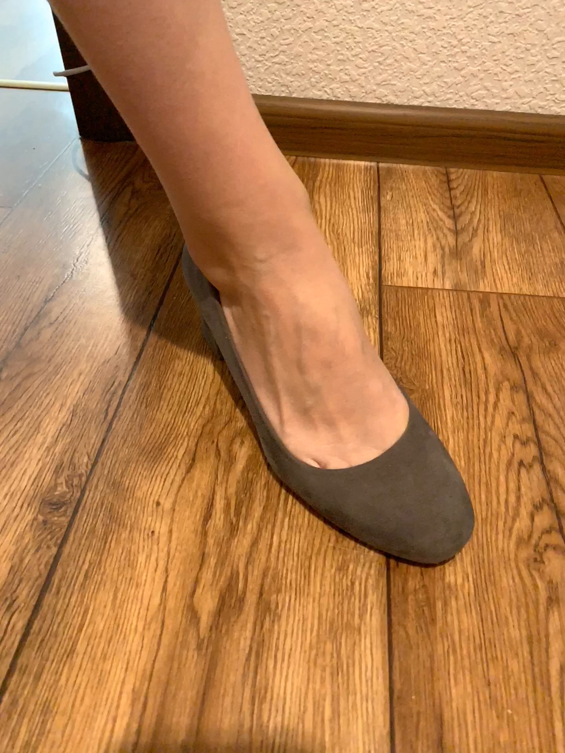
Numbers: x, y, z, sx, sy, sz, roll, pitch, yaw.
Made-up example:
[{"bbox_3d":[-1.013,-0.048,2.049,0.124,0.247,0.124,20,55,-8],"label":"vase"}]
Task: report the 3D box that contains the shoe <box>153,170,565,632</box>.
[{"bbox_3d":[0.026,-0.003,0.299,0.083,0.109,0.211,-26,51,-22],"label":"shoe"}]
